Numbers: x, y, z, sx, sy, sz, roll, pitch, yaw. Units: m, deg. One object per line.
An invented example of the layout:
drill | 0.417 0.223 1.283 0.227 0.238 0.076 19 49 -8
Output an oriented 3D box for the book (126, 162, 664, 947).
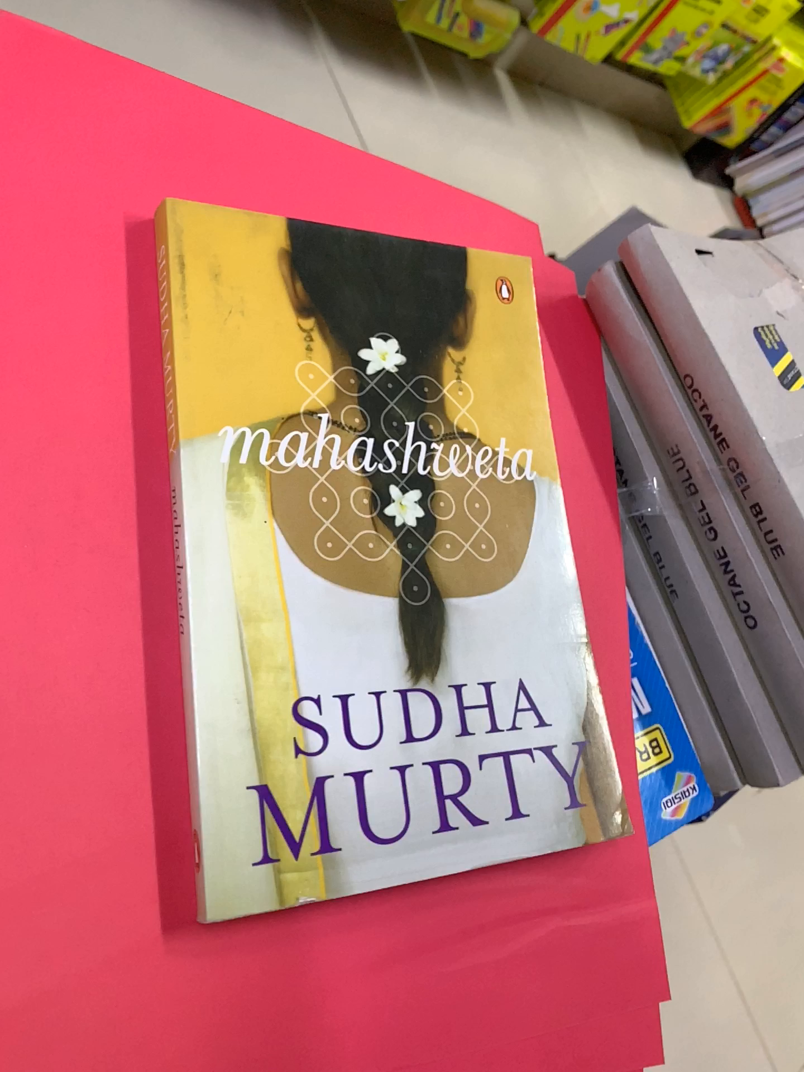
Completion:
book | -0.003 -0.005 0.246 0.141 0.020 0.200 0 73 -26
